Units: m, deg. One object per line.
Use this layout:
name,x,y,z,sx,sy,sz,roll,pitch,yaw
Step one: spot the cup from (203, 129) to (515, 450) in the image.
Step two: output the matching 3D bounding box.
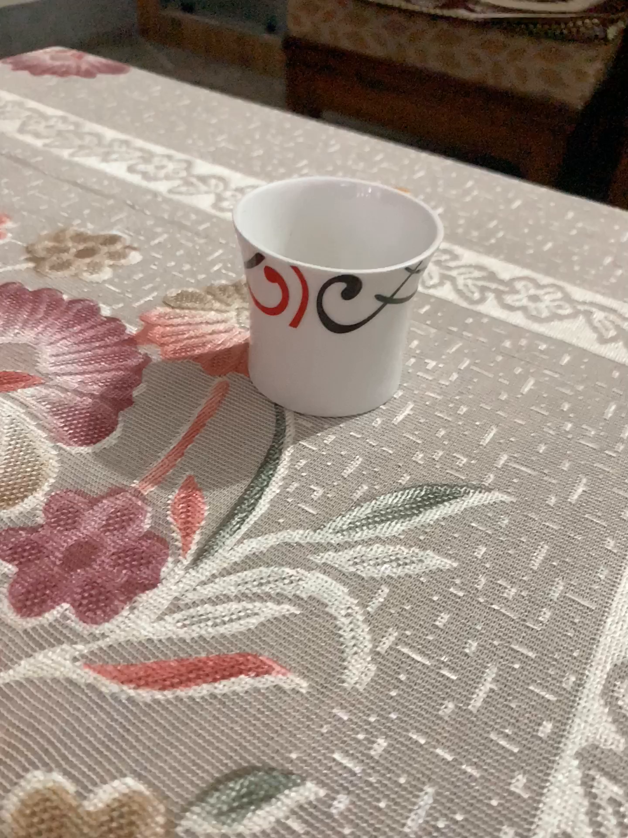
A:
cup,0.017,-0.050,0.231,0.070,0.060,0.090,22,45,17
